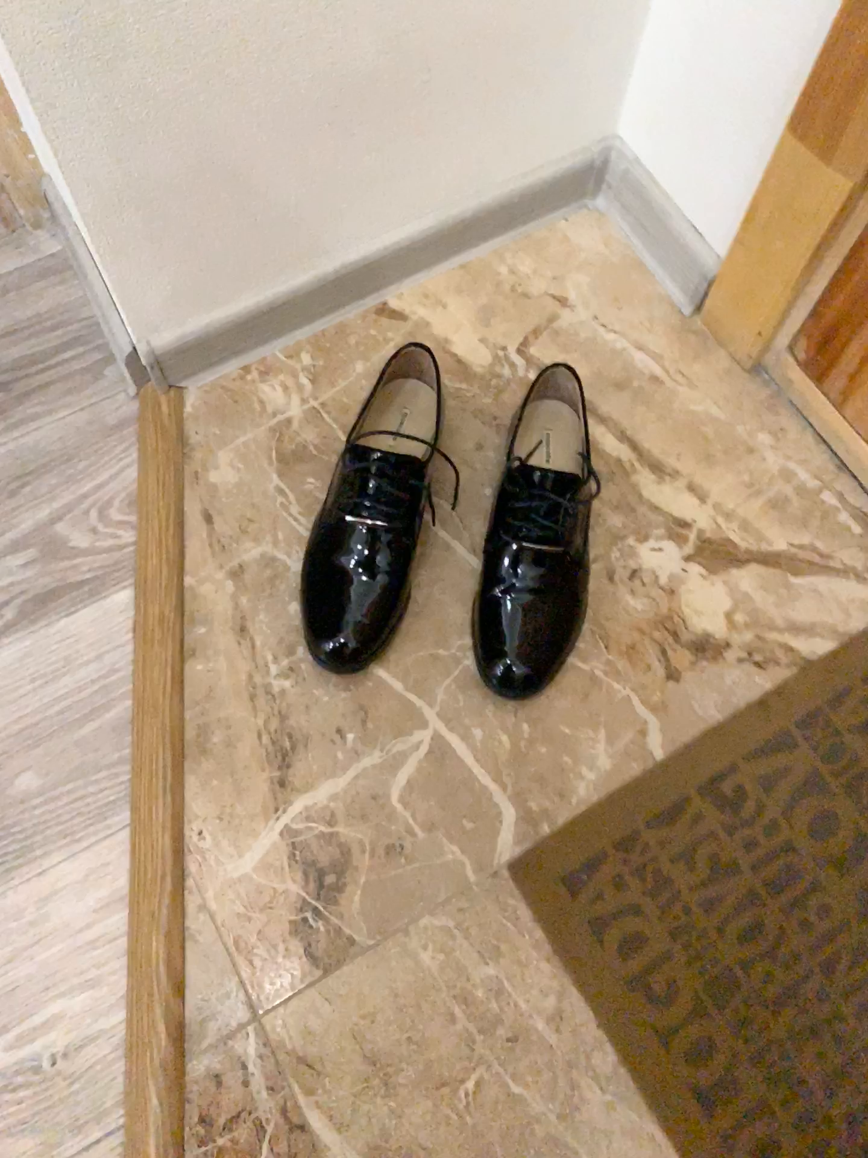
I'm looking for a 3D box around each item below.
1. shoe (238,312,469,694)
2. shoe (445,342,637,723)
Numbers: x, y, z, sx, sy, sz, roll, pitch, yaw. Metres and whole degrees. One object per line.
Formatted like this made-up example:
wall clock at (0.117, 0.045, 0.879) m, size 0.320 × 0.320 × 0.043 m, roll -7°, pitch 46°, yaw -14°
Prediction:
shoe at (-0.049, -0.052, 0.630) m, size 0.086 × 0.110 × 0.230 m, roll 14°, pitch 68°, yaw 4°
shoe at (0.074, -0.032, 0.629) m, size 0.090 × 0.110 × 0.230 m, roll 10°, pitch 68°, yaw 2°
